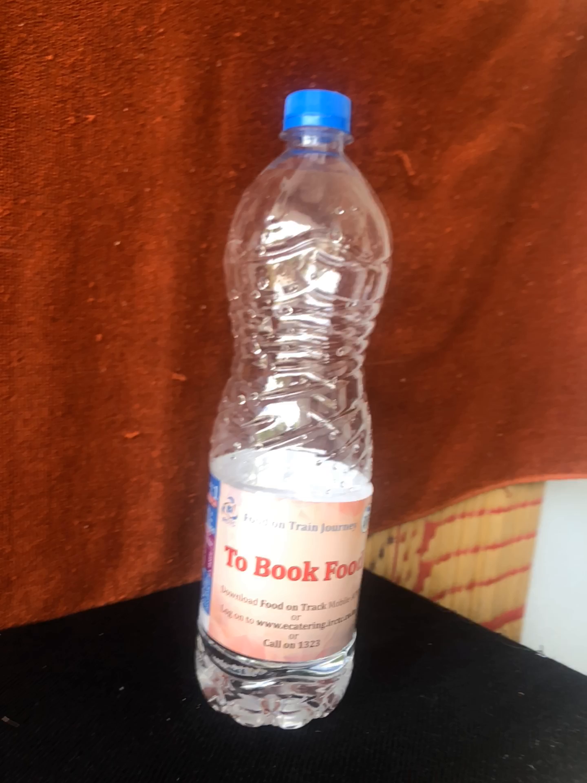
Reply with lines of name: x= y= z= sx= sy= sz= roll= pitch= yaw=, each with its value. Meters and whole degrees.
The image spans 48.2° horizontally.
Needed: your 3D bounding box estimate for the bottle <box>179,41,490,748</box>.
bottle: x=0.008 y=0.010 z=0.296 sx=0.090 sy=0.279 sz=0.070 roll=6 pitch=9 yaw=-10
